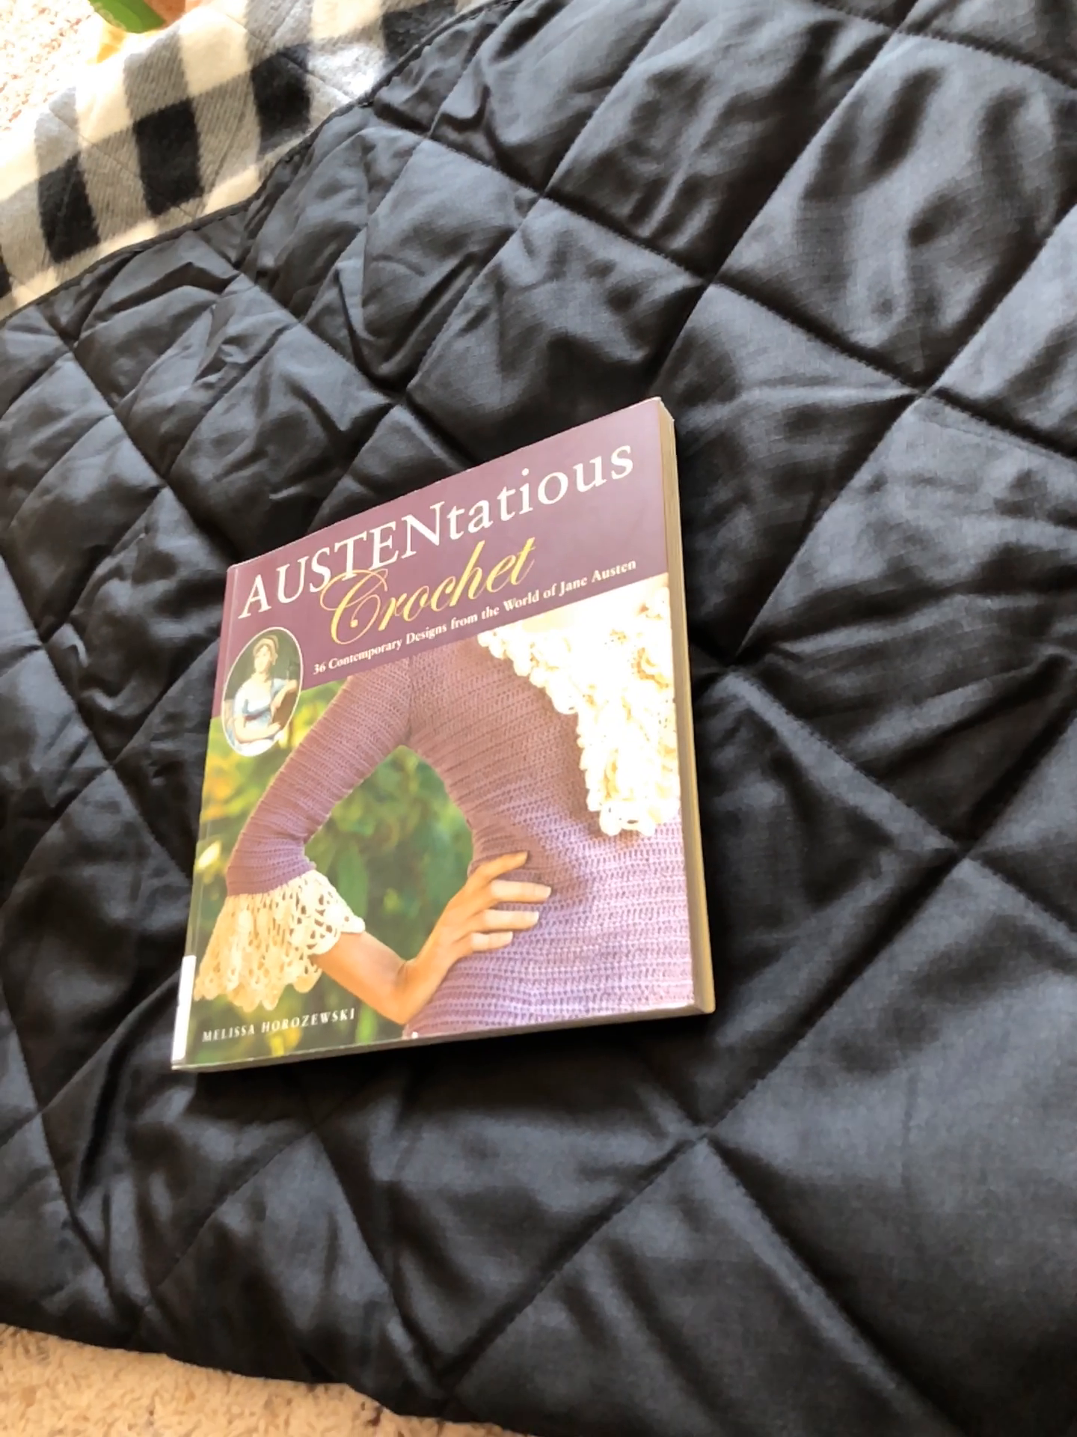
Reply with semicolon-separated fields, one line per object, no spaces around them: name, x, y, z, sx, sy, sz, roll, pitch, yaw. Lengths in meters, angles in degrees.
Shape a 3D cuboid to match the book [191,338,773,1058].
book;-0.029;-0.004;0.438;0.221;0.020;0.230;-16;60;30
